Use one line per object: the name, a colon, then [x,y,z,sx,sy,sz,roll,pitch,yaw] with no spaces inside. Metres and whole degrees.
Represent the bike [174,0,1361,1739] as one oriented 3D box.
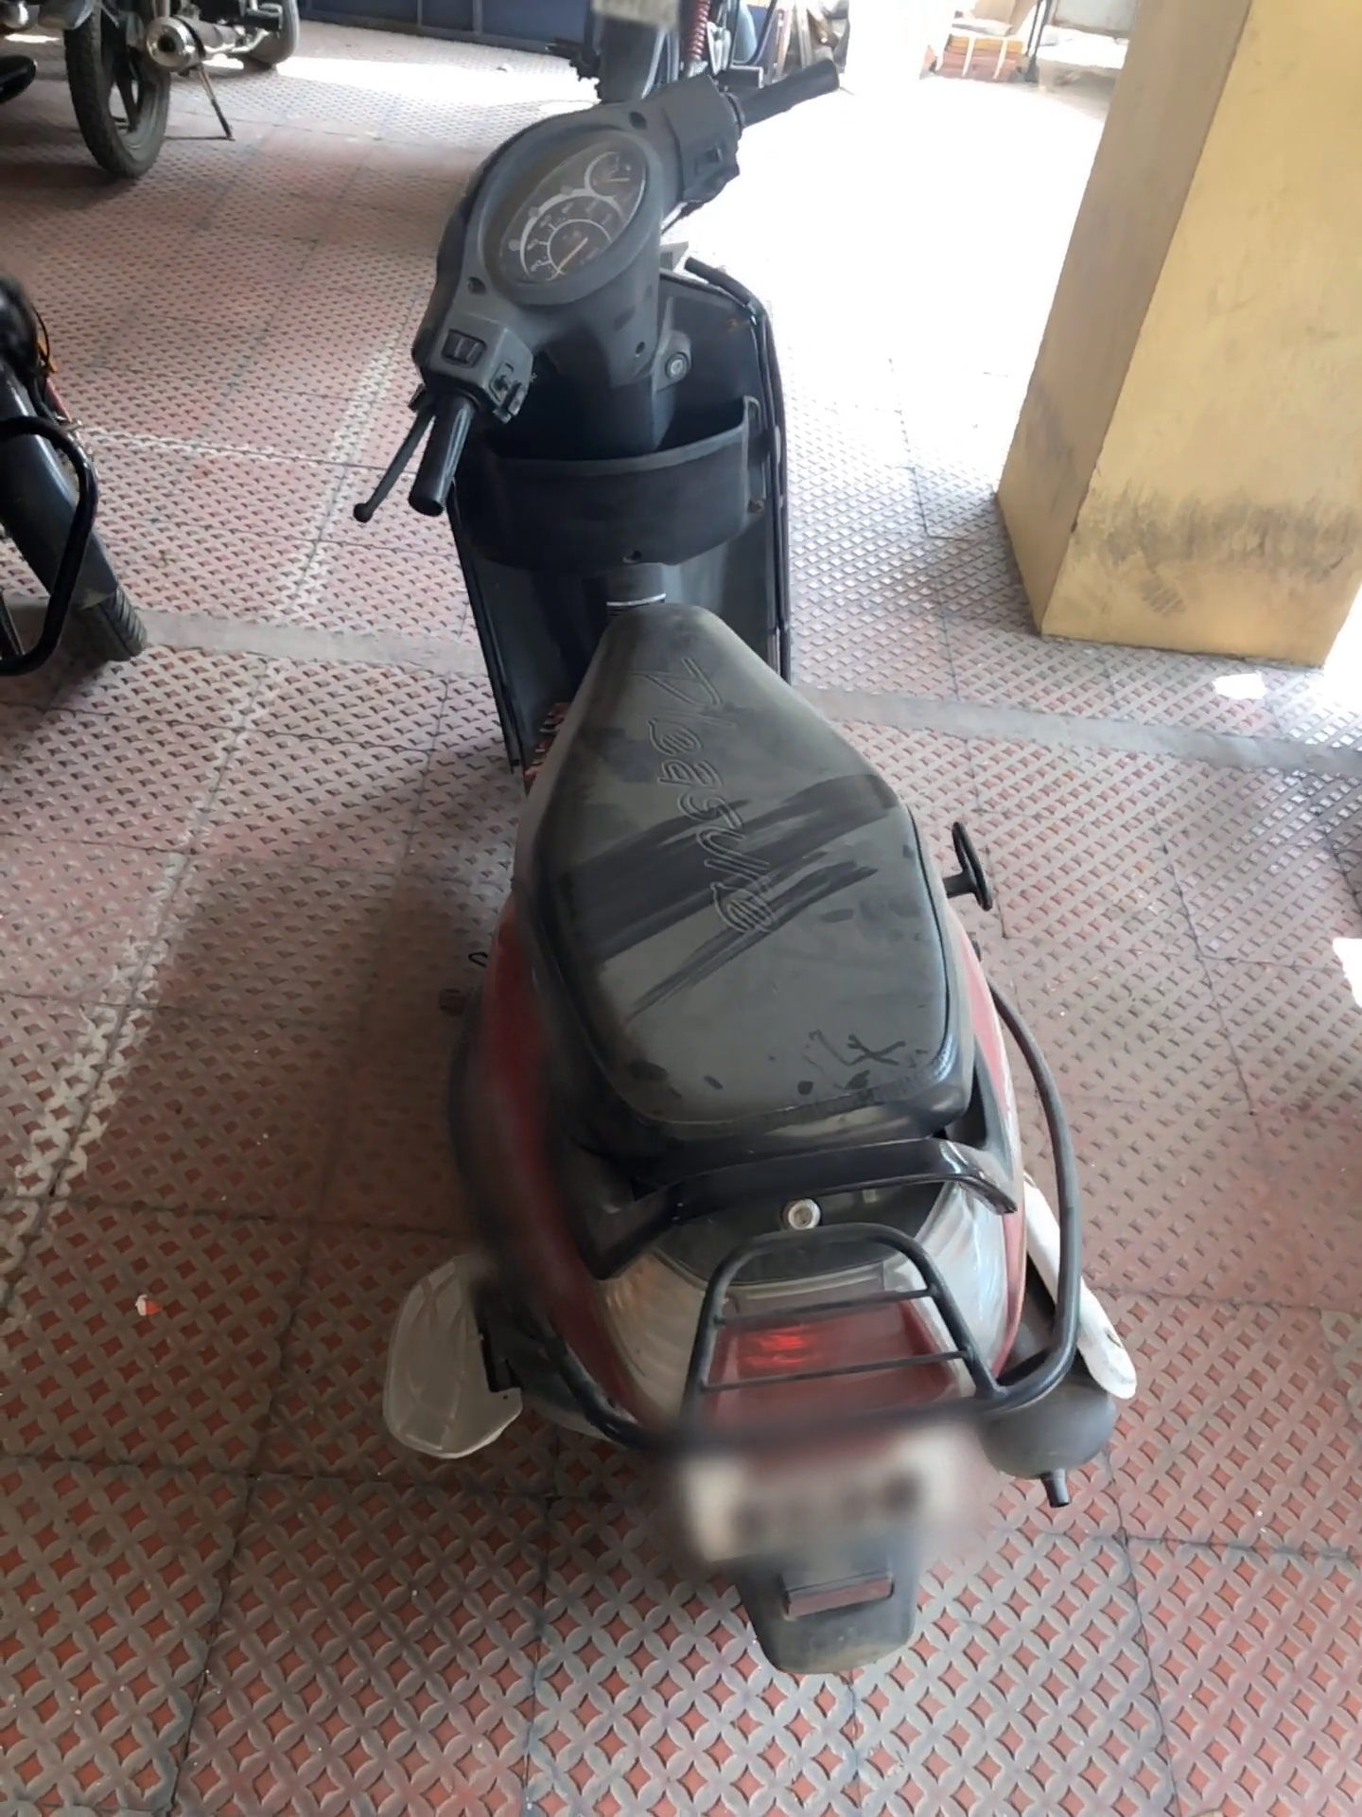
bike: [-0.153,-0.233,1.575,0.600,1.030,1.658,-5,44,-15]
